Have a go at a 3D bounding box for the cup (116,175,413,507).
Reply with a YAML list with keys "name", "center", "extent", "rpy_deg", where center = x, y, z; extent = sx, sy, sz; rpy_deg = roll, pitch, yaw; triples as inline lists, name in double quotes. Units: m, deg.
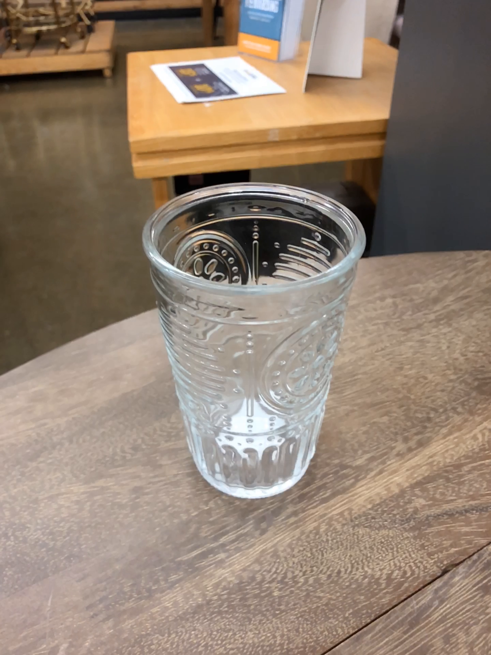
- name: "cup"
  center: [0.006, 0.005, 0.229]
  extent: [0.088, 0.107, 0.086]
  rpy_deg: [-1, 38, 1]
